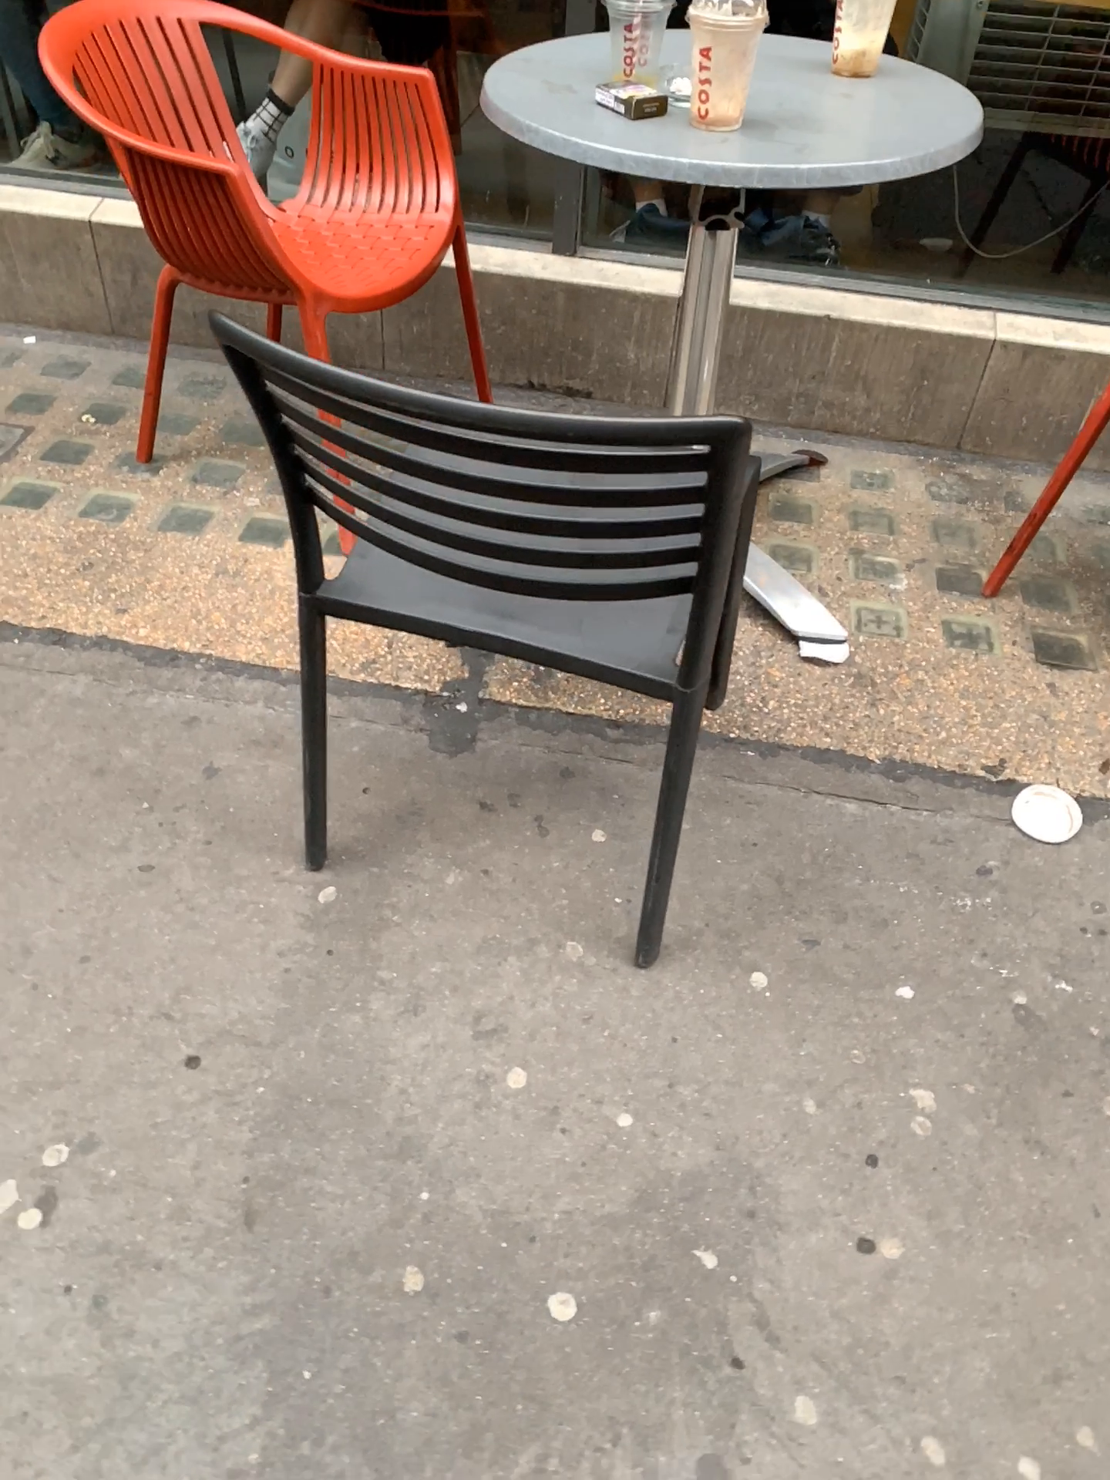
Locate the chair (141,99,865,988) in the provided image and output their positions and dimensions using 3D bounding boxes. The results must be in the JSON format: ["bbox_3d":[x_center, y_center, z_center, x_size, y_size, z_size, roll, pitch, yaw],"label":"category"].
[{"bbox_3d":[-0.017,-0.233,1.348,0.550,0.753,0.606,13,44,8],"label":"chair"}]

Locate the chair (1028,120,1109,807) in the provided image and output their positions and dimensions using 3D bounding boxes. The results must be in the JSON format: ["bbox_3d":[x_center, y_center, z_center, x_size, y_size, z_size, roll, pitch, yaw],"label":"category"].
[{"bbox_3d":[1.407,-0.479,1.867,0.702,0.772,0.645,-19,49,-23],"label":"chair"}]

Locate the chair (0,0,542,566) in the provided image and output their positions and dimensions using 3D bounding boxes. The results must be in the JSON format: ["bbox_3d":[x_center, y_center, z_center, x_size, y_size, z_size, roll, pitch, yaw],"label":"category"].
[{"bbox_3d":[-0.451,-0.856,2.005,0.641,0.743,0.575,19,46,15],"label":"chair"}]
